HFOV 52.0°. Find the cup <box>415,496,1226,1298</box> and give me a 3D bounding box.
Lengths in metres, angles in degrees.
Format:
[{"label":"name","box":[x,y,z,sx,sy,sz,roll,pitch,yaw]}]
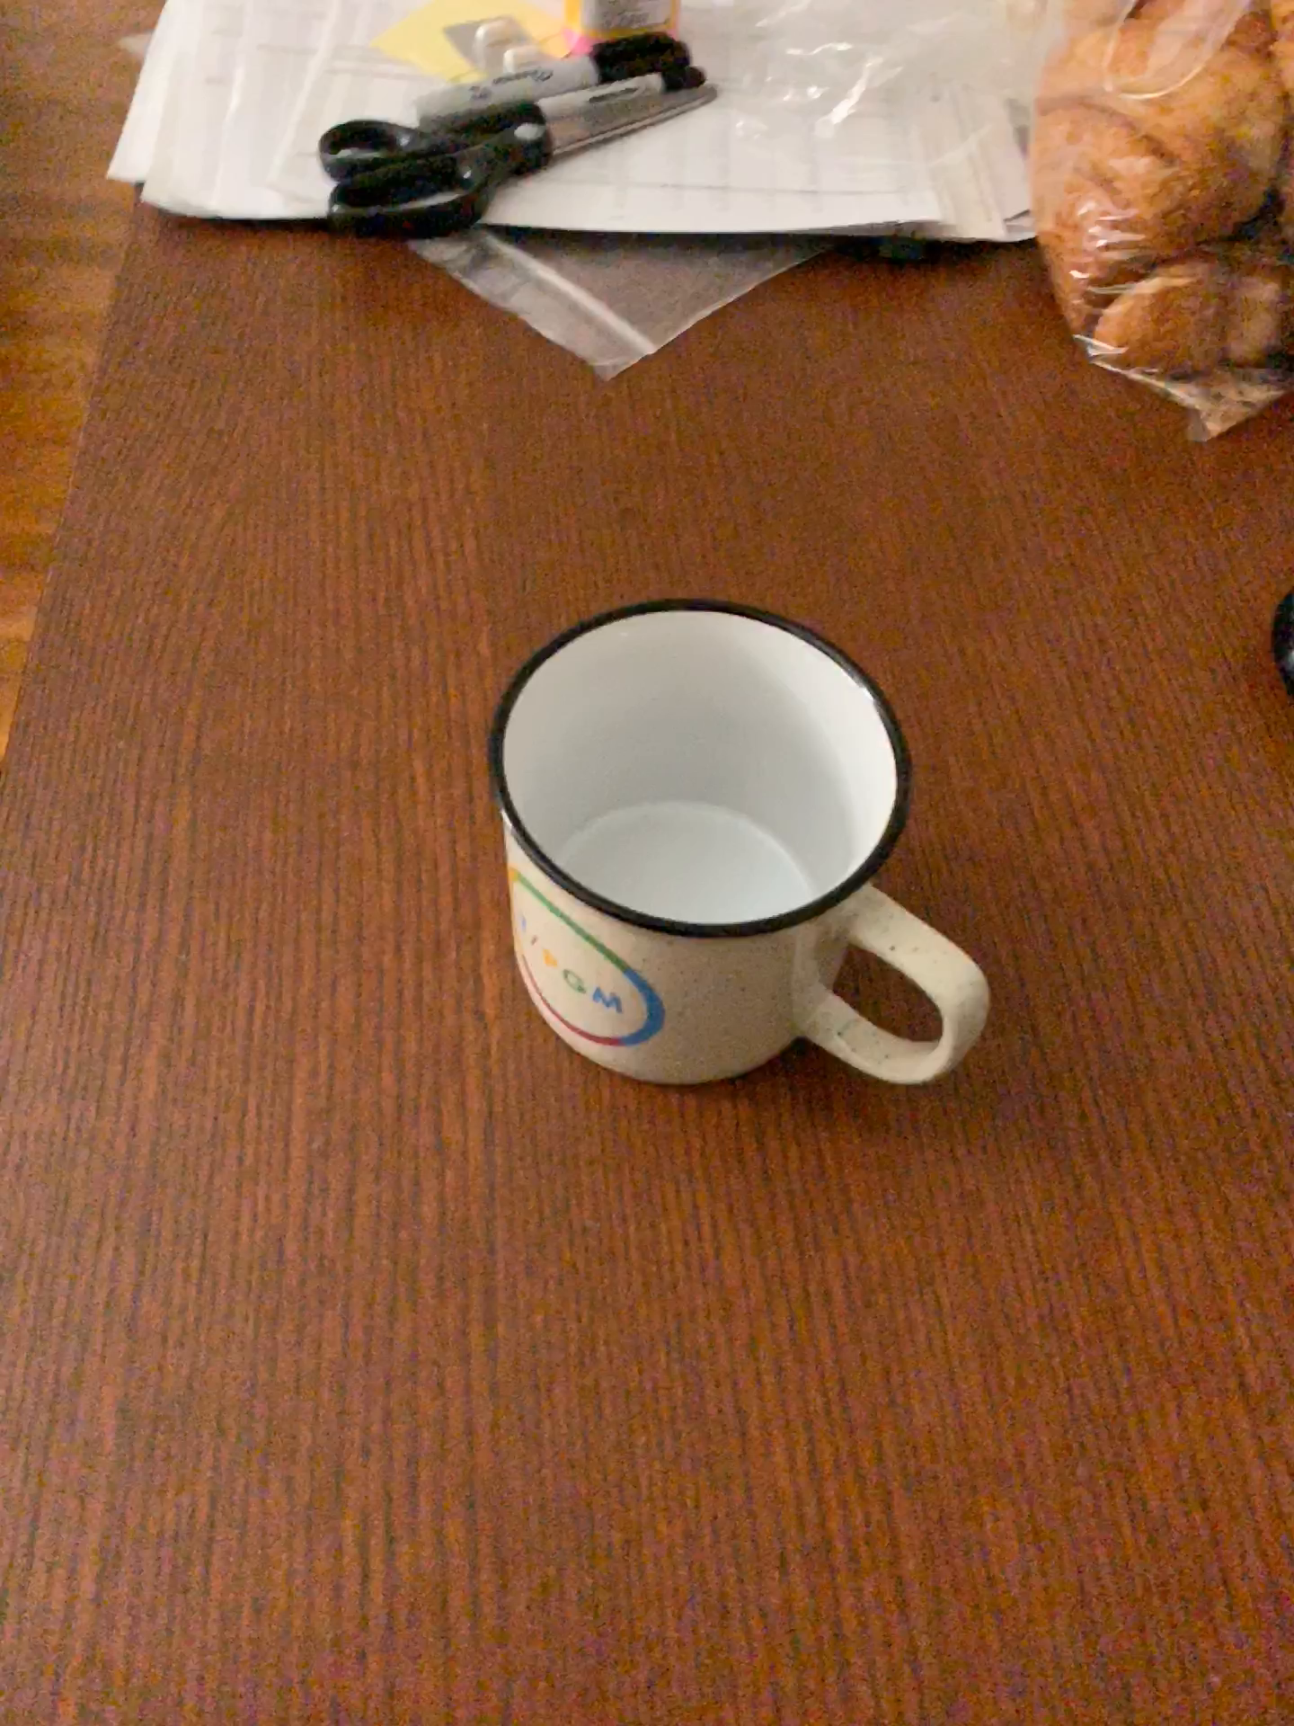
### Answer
[{"label":"cup","box":[0.035,0.007,0.335,0.150,0.100,0.100,37,62,19]}]
